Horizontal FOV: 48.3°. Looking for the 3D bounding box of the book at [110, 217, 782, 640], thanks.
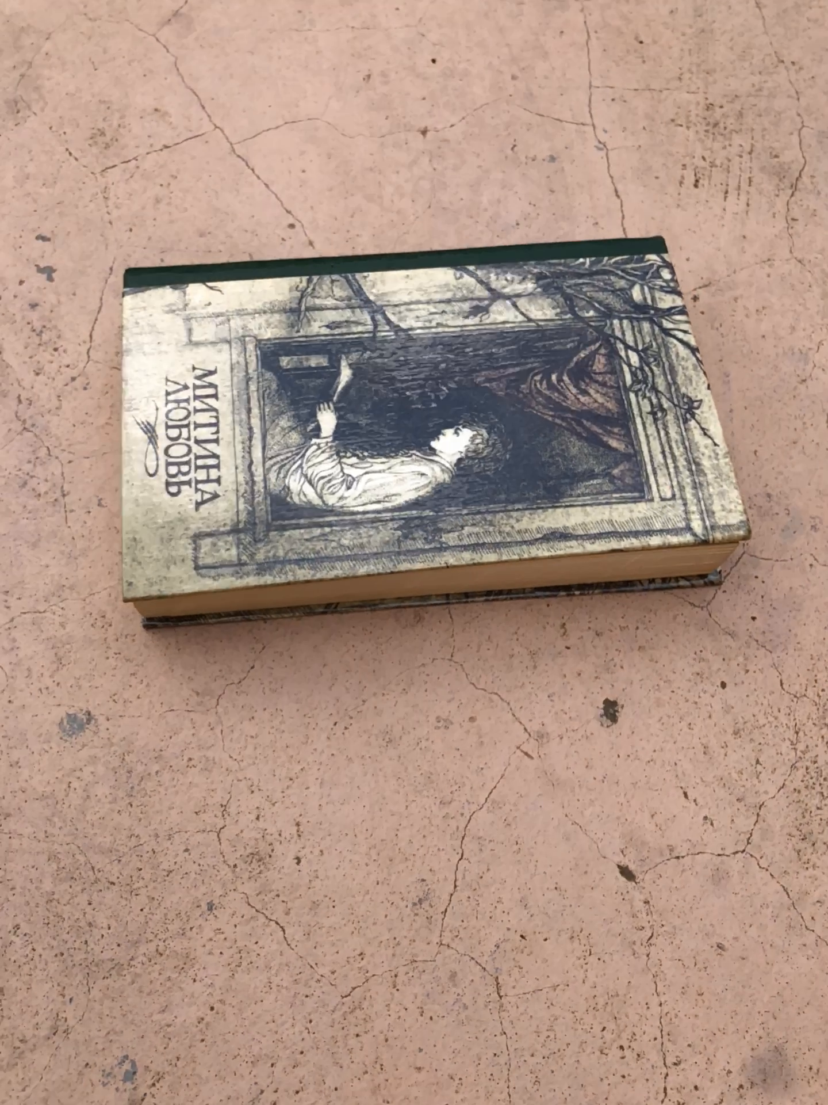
[{"bbox_3d":[0.005,-0.049,0.331,0.213,0.035,0.135,-5,67,-5],"label":"book"}]
